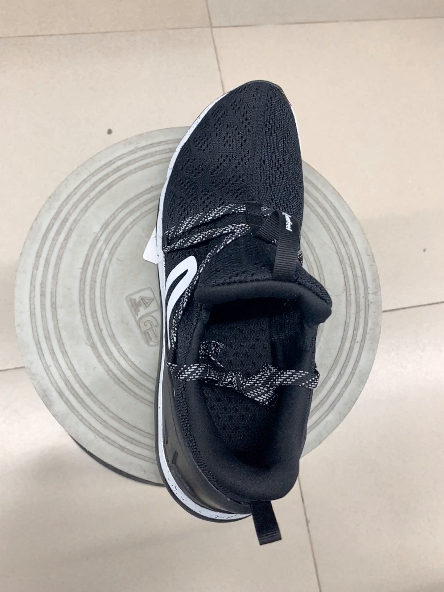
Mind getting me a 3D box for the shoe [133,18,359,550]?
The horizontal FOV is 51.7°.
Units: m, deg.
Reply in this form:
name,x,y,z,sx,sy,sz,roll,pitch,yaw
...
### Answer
name,x,y,z,sx,sy,sz,roll,pitch,yaw
shoe,0.009,-0.015,0.285,0.100,0.090,0.290,3,73,-6
